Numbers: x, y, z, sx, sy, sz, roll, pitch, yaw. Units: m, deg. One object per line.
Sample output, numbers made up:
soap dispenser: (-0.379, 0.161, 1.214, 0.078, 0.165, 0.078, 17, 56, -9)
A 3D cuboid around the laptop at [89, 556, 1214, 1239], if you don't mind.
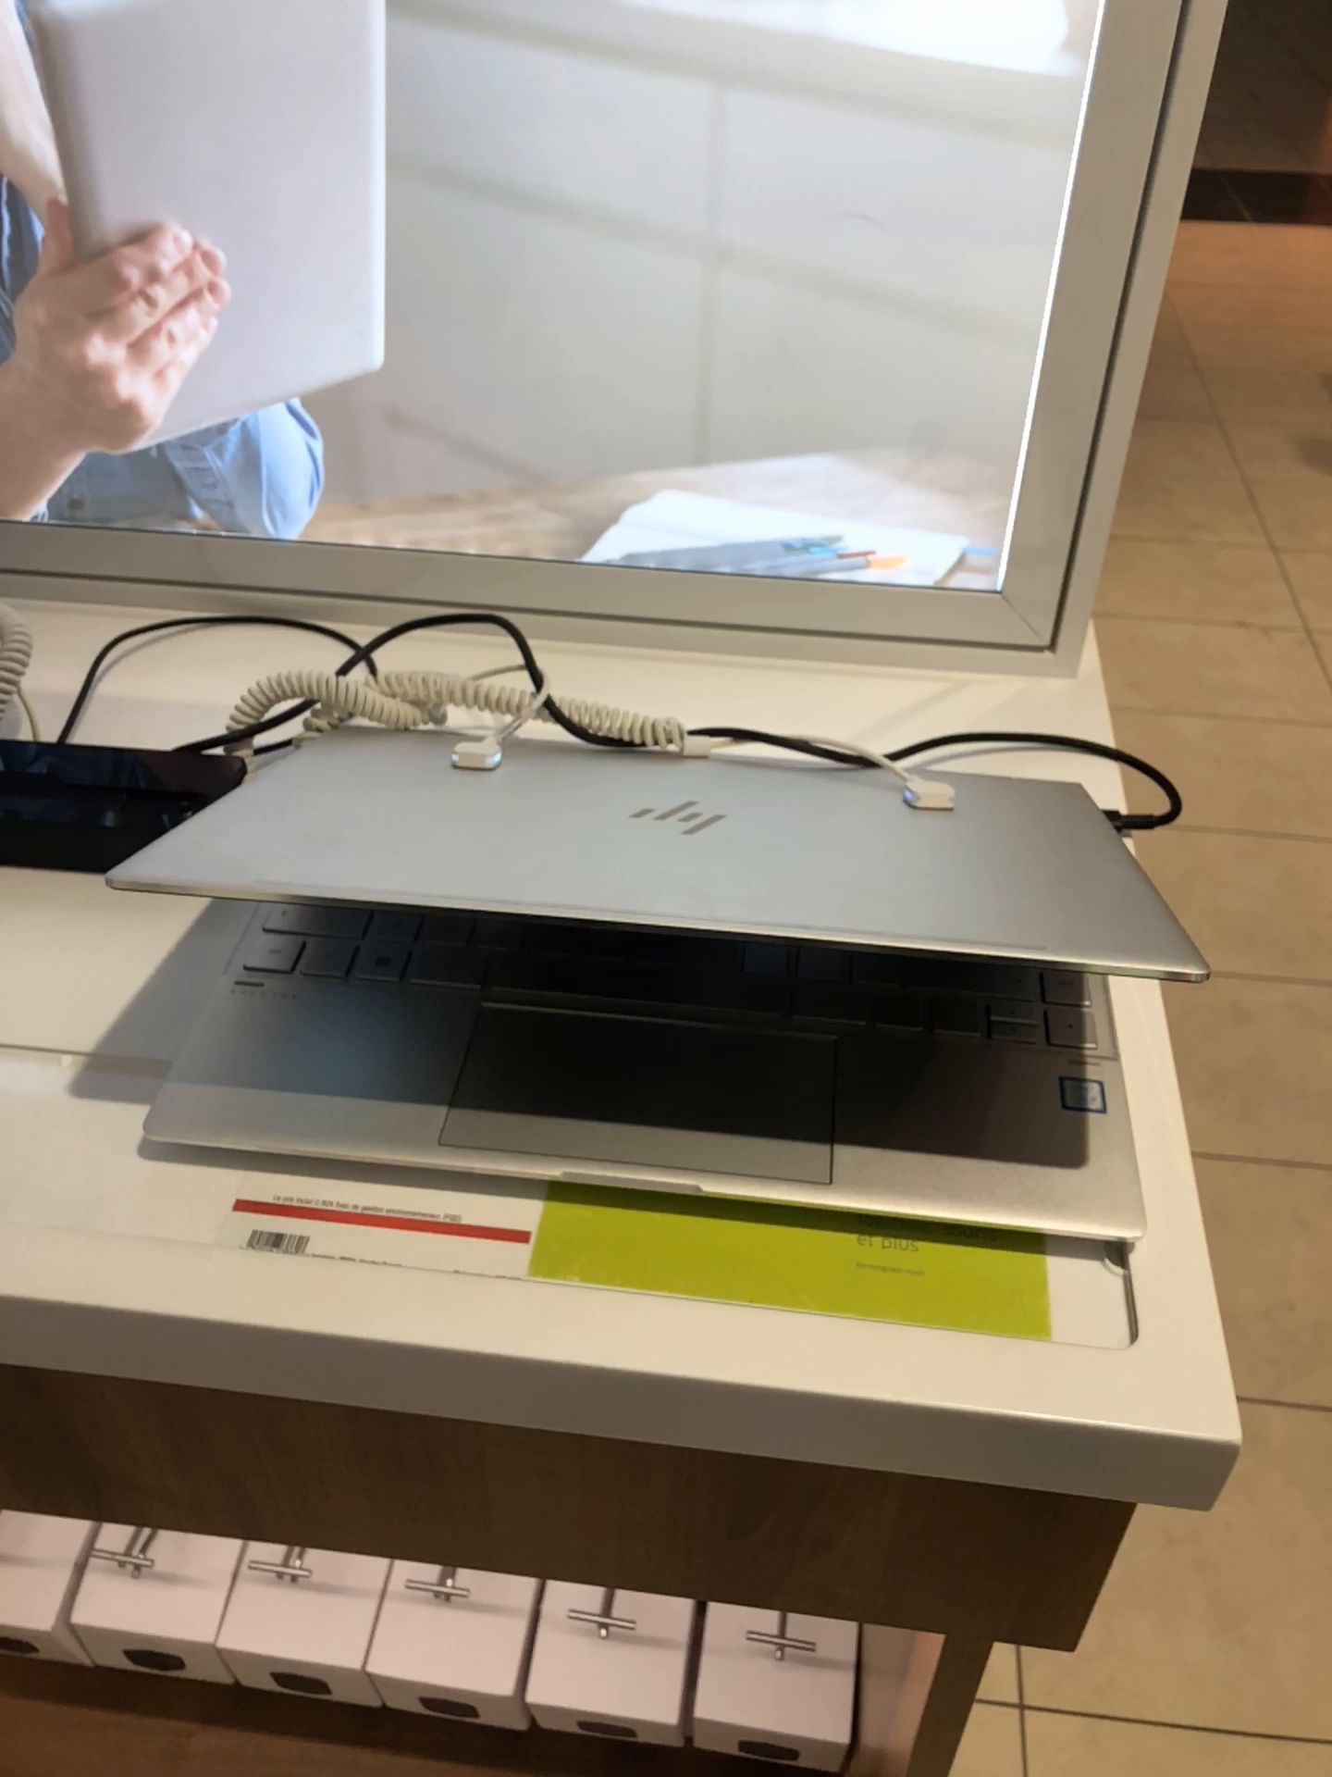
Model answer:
laptop: (0.003, -0.013, 0.491, 0.298, 0.078, 0.212, 5, 41, 5)
